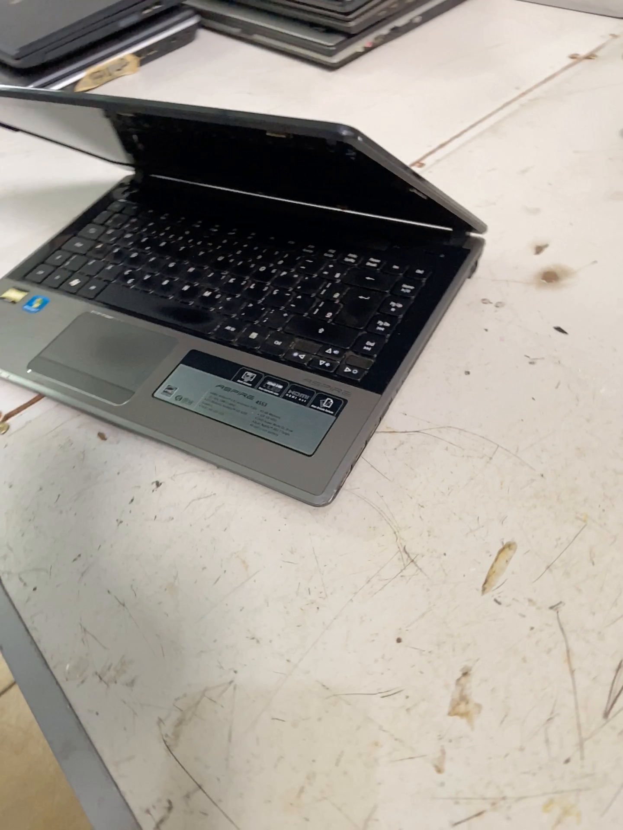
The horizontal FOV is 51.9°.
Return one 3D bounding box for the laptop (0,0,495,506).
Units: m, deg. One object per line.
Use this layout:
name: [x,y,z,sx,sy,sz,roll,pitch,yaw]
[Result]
laptop: [-0.094,-0.132,0.401,0.334,0.157,0.226,18,56,25]
